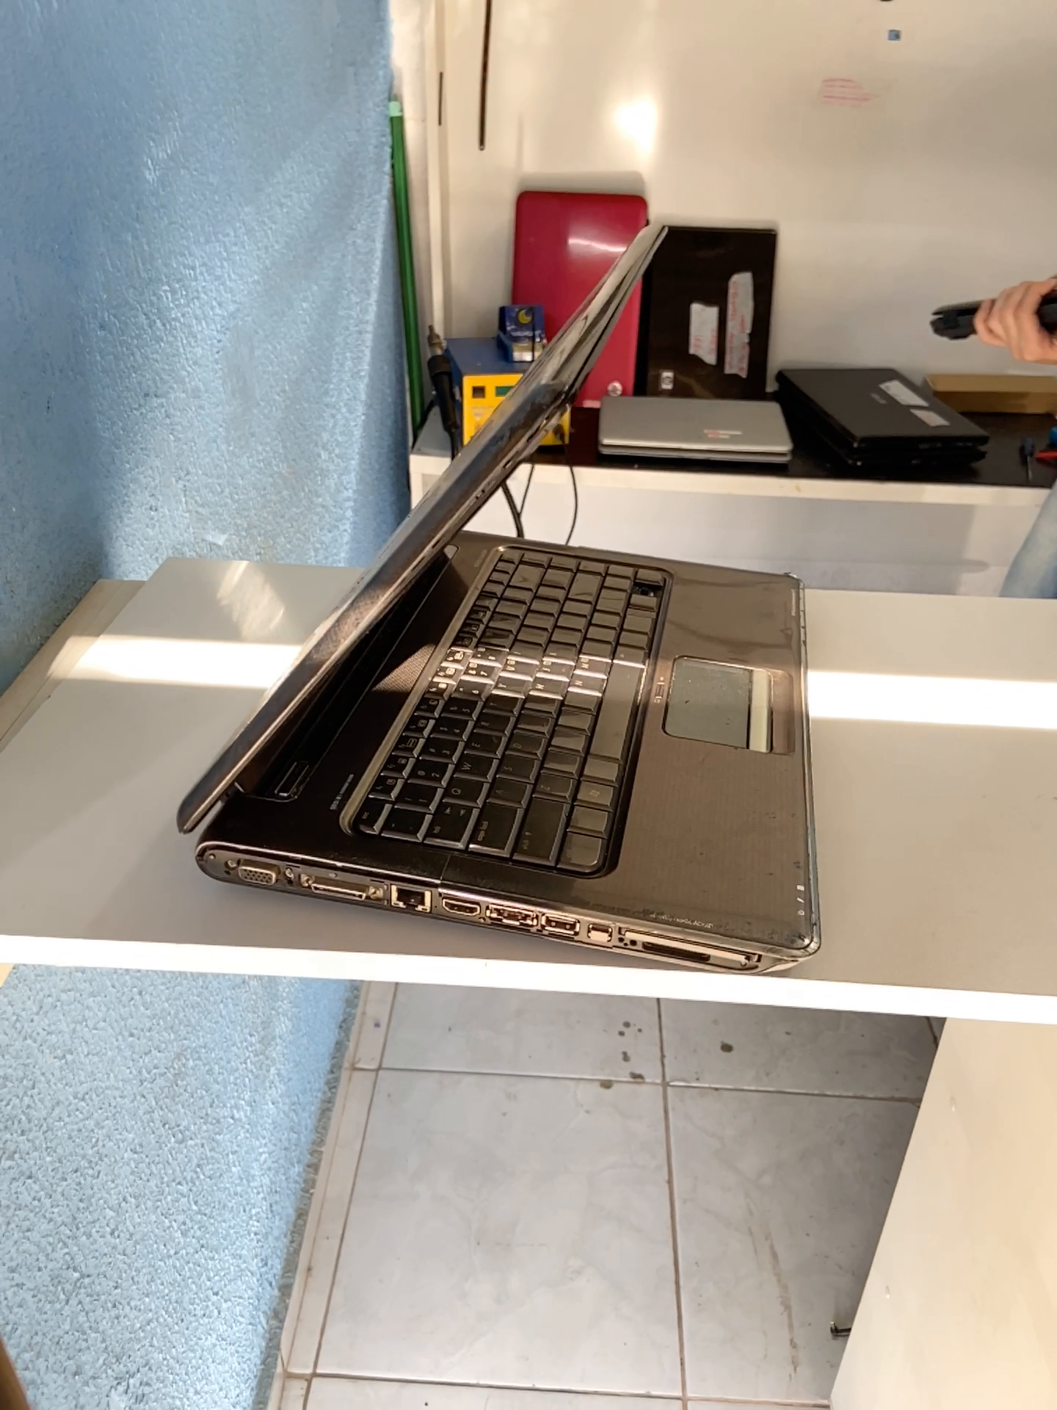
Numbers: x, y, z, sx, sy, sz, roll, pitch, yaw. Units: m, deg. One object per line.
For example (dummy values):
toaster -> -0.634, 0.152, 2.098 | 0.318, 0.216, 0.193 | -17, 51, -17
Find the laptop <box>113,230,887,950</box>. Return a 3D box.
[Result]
laptop -> 0.020, -0.094, 0.527 | 0.244, 0.190, 0.346 | 8, 32, 9
